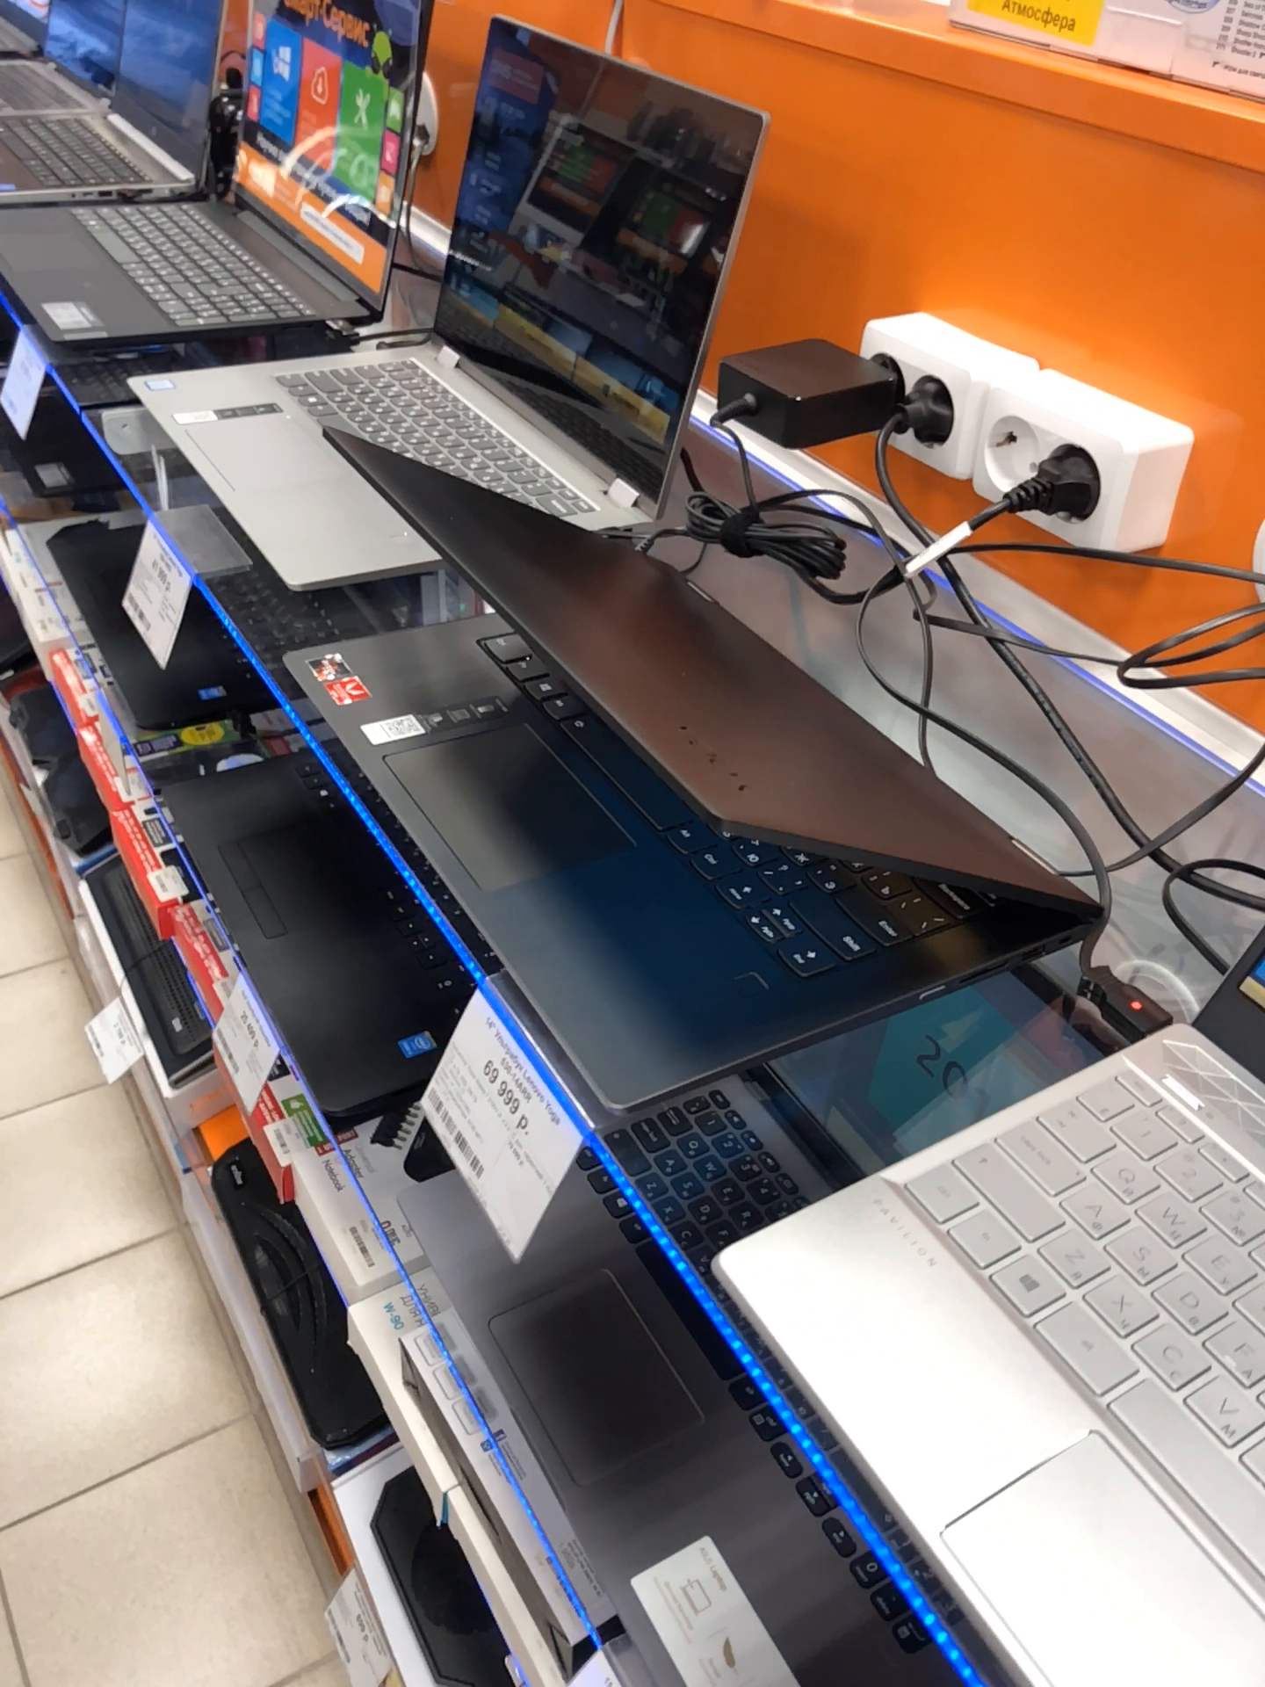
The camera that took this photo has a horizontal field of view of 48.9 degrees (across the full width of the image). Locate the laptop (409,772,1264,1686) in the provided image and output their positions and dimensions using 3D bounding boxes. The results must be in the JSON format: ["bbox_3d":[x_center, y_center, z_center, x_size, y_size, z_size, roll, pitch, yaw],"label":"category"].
[{"bbox_3d":[0.081,0.180,0.677,0.256,0.236,0.355,-16,40,-25],"label":"laptop"}]

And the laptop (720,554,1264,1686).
[{"bbox_3d":[0.236,0.090,0.331,0.317,0.162,0.284,-17,39,-22],"label":"laptop"}]

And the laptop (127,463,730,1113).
[{"bbox_3d":[-0.154,-0.066,0.973,0.265,0.223,0.375,-17,43,-26],"label":"laptop"}]

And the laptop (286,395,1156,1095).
[{"bbox_3d":[0.012,-0.074,0.595,0.214,0.102,0.325,-17,42,-24],"label":"laptop"}]

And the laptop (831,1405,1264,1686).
[{"bbox_3d":[0.276,0.404,0.379,0.253,0.229,0.345,-14,40,-24],"label":"laptop"}]

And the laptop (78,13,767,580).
[{"bbox_3d":[-0.137,-0.352,0.851,0.267,0.219,0.312,-17,43,-25],"label":"laptop"}]
